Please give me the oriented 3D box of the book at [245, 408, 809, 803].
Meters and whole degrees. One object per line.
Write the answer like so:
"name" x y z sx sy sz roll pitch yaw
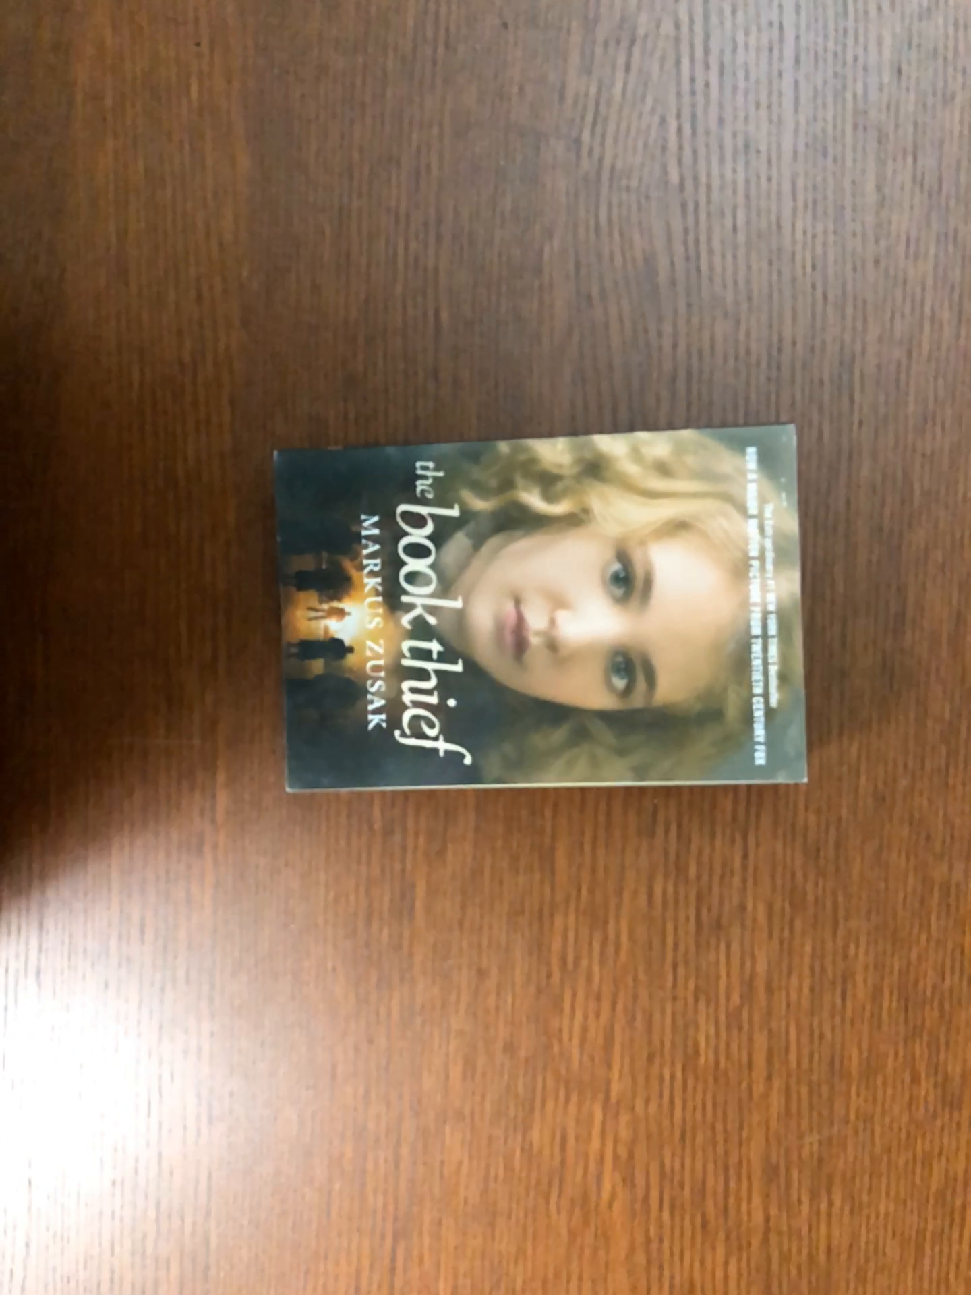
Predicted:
"book" 0.015 -0.014 0.442 0.220 0.030 0.150 -1 91 7
